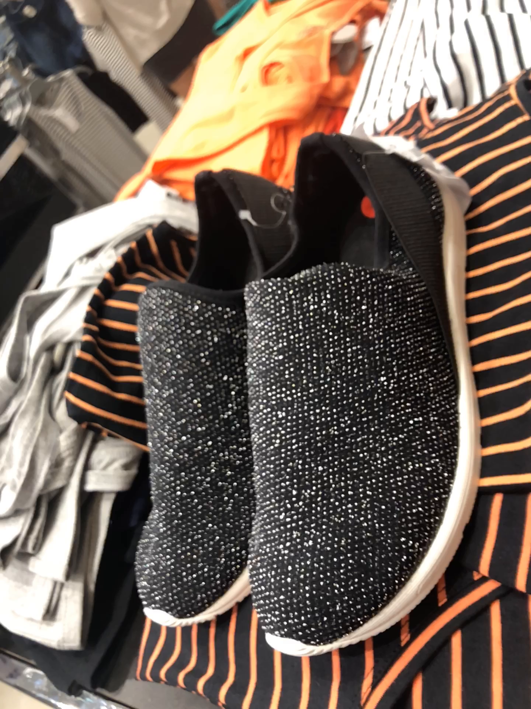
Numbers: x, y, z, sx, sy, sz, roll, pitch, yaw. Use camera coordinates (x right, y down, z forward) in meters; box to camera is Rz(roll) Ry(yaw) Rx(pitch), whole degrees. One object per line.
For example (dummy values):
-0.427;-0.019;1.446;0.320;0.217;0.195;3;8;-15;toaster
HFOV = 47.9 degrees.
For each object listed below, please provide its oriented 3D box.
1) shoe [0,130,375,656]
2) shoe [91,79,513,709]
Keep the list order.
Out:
-0.033;0.012;0.329;0.100;0.109;0.241;-8;49;39;shoe
0.040;0.006;0.278;0.100;0.109;0.241;-10;48;37;shoe
